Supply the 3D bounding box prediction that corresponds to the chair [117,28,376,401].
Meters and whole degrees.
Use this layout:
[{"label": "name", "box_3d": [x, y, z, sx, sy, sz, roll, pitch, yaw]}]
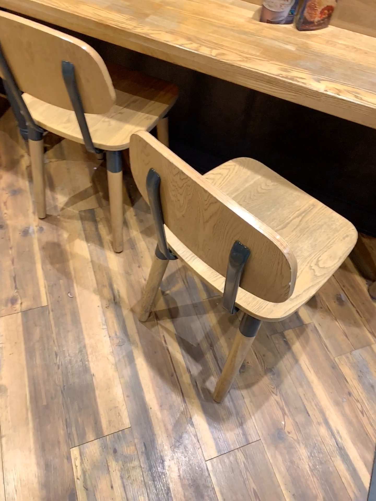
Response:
[{"label": "chair", "box_3d": [0.177, -0.054, 0.960, 0.503, 0.684, 0.411, -37, 64, -28]}]
